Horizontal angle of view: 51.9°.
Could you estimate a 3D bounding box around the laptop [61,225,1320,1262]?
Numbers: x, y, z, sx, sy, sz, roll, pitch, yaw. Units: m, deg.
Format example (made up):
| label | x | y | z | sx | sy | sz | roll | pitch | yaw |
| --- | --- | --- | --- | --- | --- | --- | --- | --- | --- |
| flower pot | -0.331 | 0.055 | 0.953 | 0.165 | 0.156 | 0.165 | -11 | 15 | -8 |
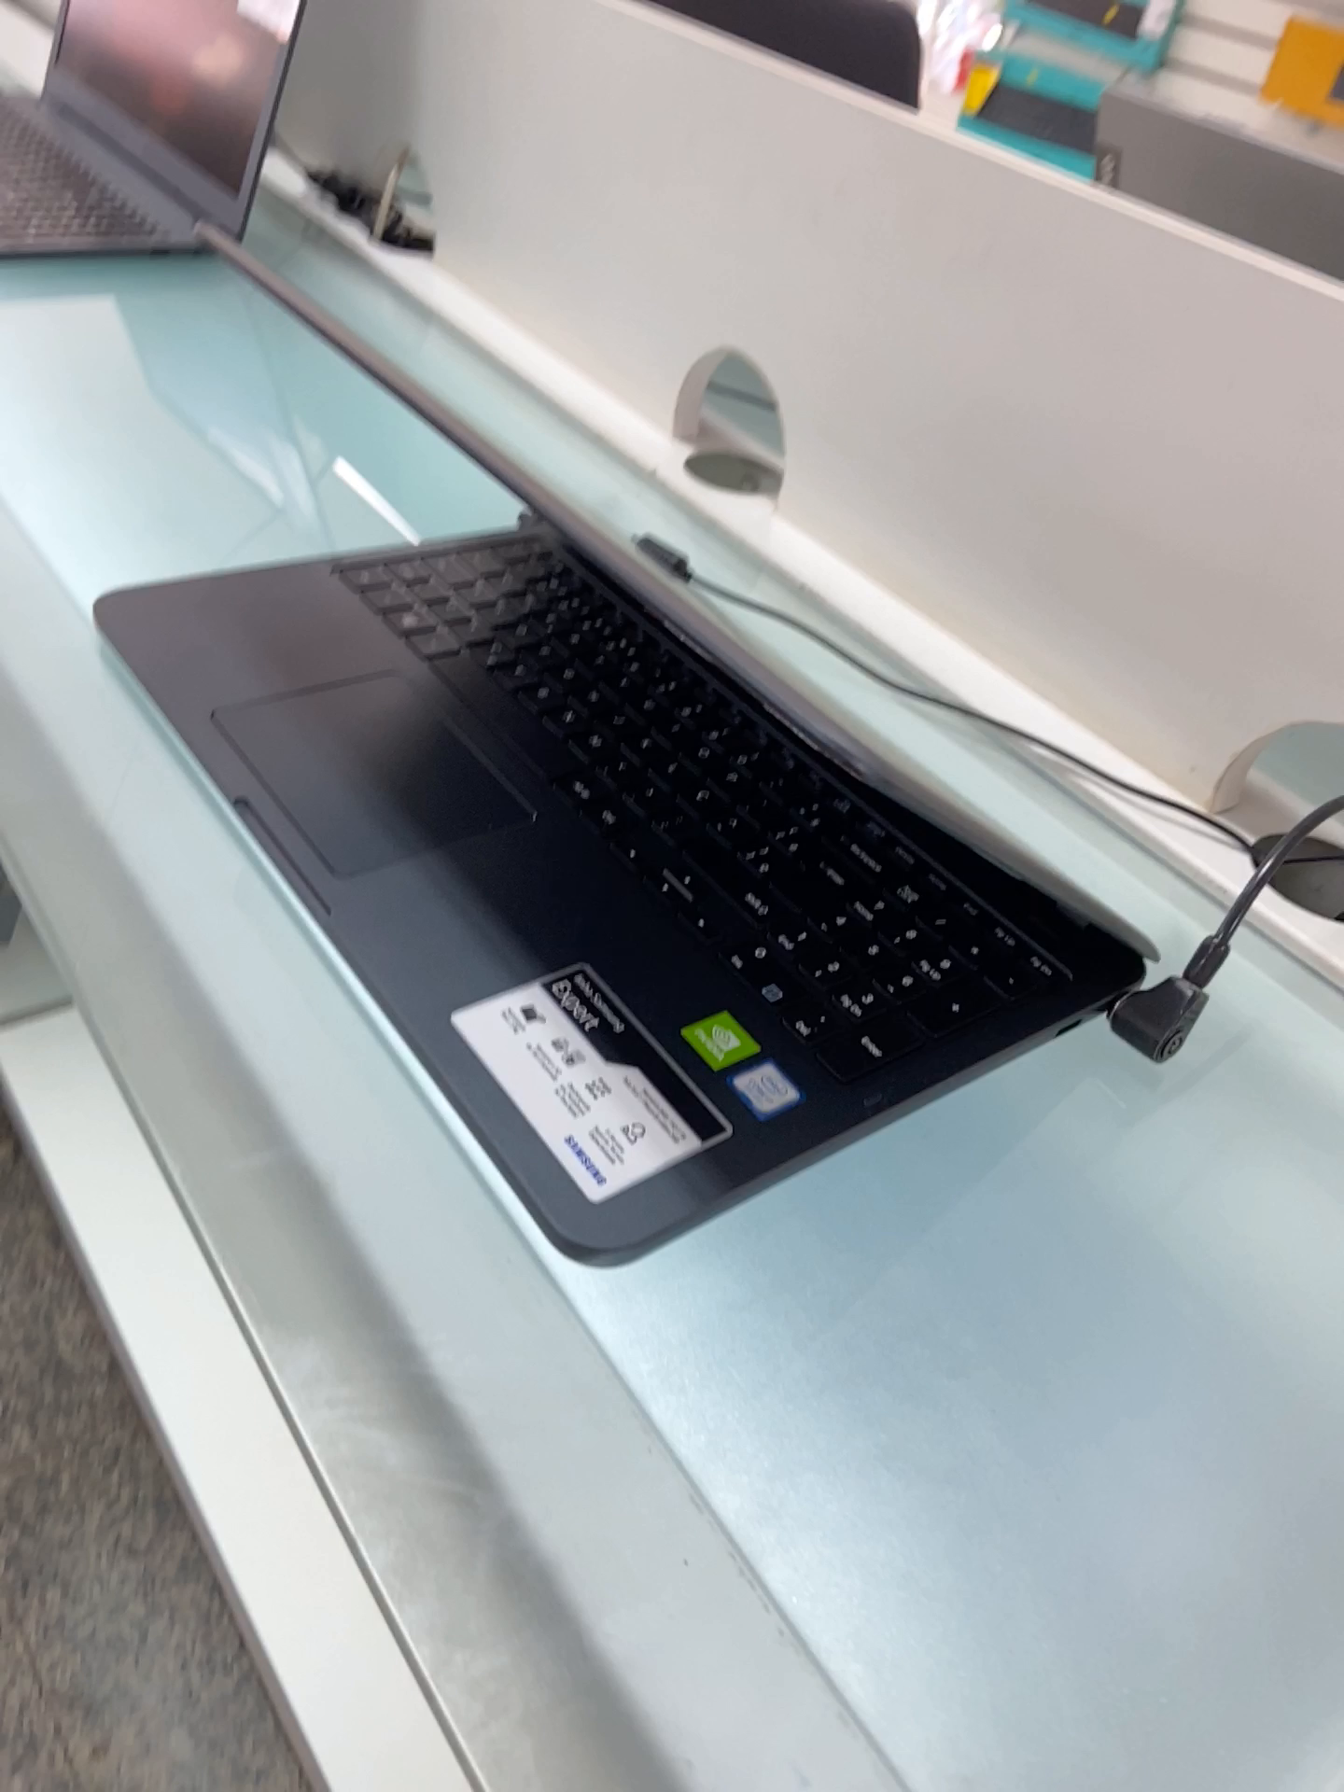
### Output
| label | x | y | z | sx | sy | sz | roll | pitch | yaw |
| --- | --- | --- | --- | --- | --- | --- | --- | --- | --- |
| laptop | -0.024 | -0.102 | 0.495 | 0.239 | 0.139 | 0.378 | -20 | 49 | -32 |
